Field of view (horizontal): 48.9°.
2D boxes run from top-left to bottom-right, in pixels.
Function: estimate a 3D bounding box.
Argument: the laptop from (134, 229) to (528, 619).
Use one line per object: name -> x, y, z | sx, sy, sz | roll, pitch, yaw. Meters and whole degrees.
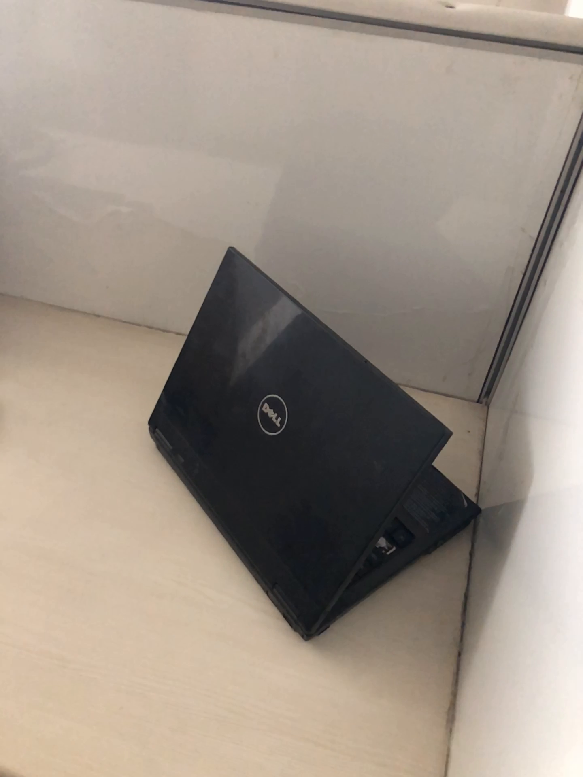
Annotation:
laptop -> 0.025, 0.015, 0.663 | 0.230, 0.190, 0.305 | -25, 52, -28
